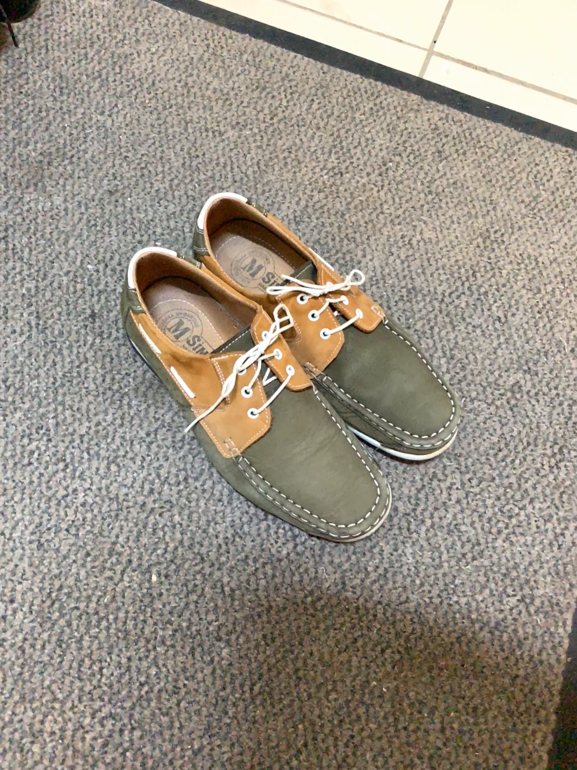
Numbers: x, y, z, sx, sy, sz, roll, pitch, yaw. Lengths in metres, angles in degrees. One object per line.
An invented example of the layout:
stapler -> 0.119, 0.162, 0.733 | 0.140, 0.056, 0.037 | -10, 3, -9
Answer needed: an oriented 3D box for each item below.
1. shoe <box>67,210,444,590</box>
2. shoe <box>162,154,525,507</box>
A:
shoe -> -0.032, 0.017, 0.468 | 0.107, 0.130, 0.270 | -40, 77, -17
shoe -> 0.033, -0.041, 0.501 | 0.270, 0.130, 0.107 | 43, 72, 11
